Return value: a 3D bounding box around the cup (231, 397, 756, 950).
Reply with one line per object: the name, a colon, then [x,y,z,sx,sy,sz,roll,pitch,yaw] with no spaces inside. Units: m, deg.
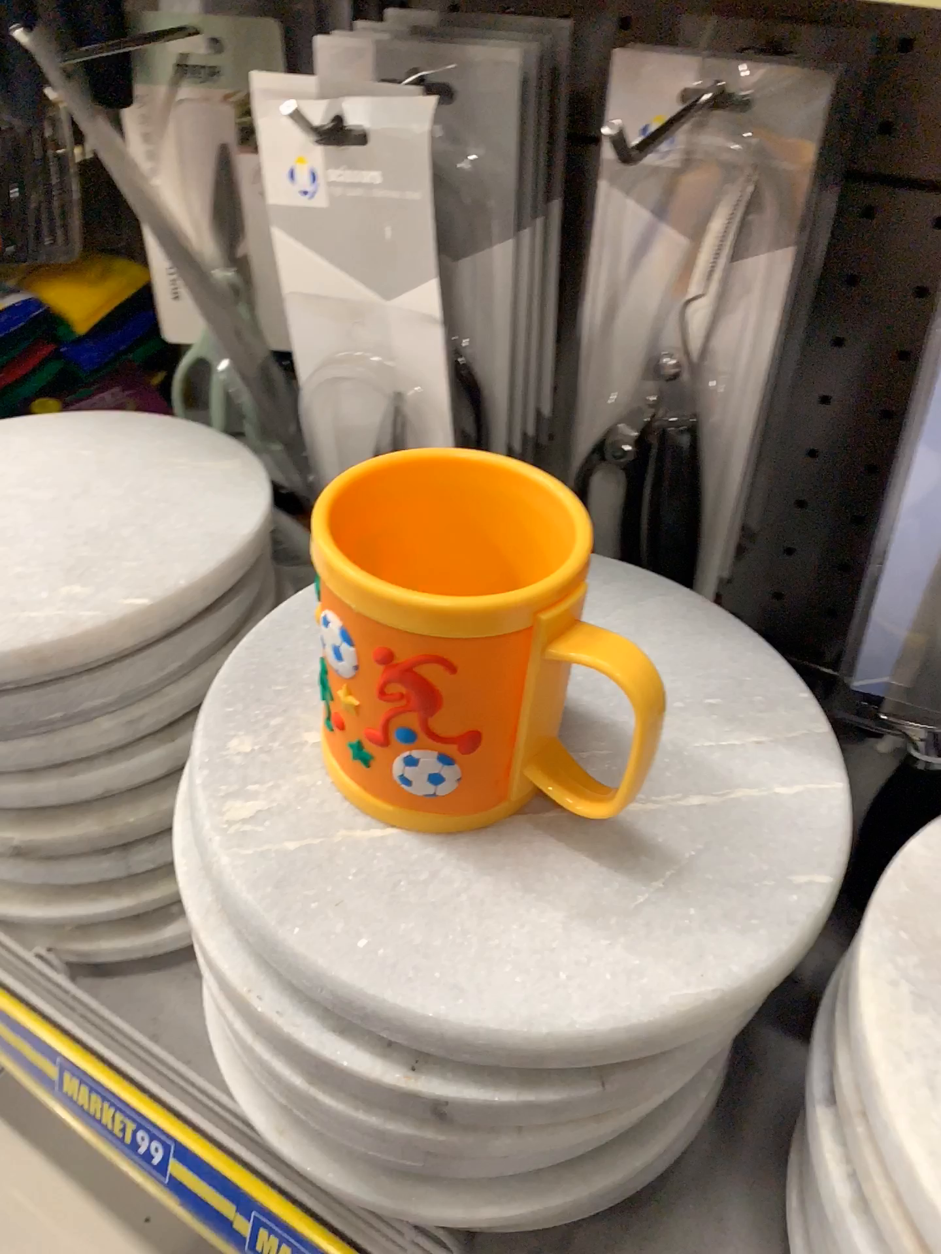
cup: [0.006,0.008,0.282,0.110,0.100,0.080,25,44,29]
